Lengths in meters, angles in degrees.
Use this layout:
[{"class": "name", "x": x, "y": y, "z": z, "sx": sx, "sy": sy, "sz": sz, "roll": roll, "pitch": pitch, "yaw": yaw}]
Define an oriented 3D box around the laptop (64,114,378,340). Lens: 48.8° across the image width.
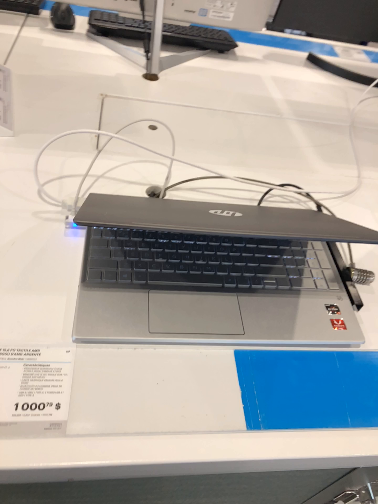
[{"class": "laptop", "x": 0.044, "y": -0.031, "z": 0.515, "sx": 0.350, "sy": 0.134, "sz": 0.232, "roll": 3, "pitch": 47, "yaw": -10}]
